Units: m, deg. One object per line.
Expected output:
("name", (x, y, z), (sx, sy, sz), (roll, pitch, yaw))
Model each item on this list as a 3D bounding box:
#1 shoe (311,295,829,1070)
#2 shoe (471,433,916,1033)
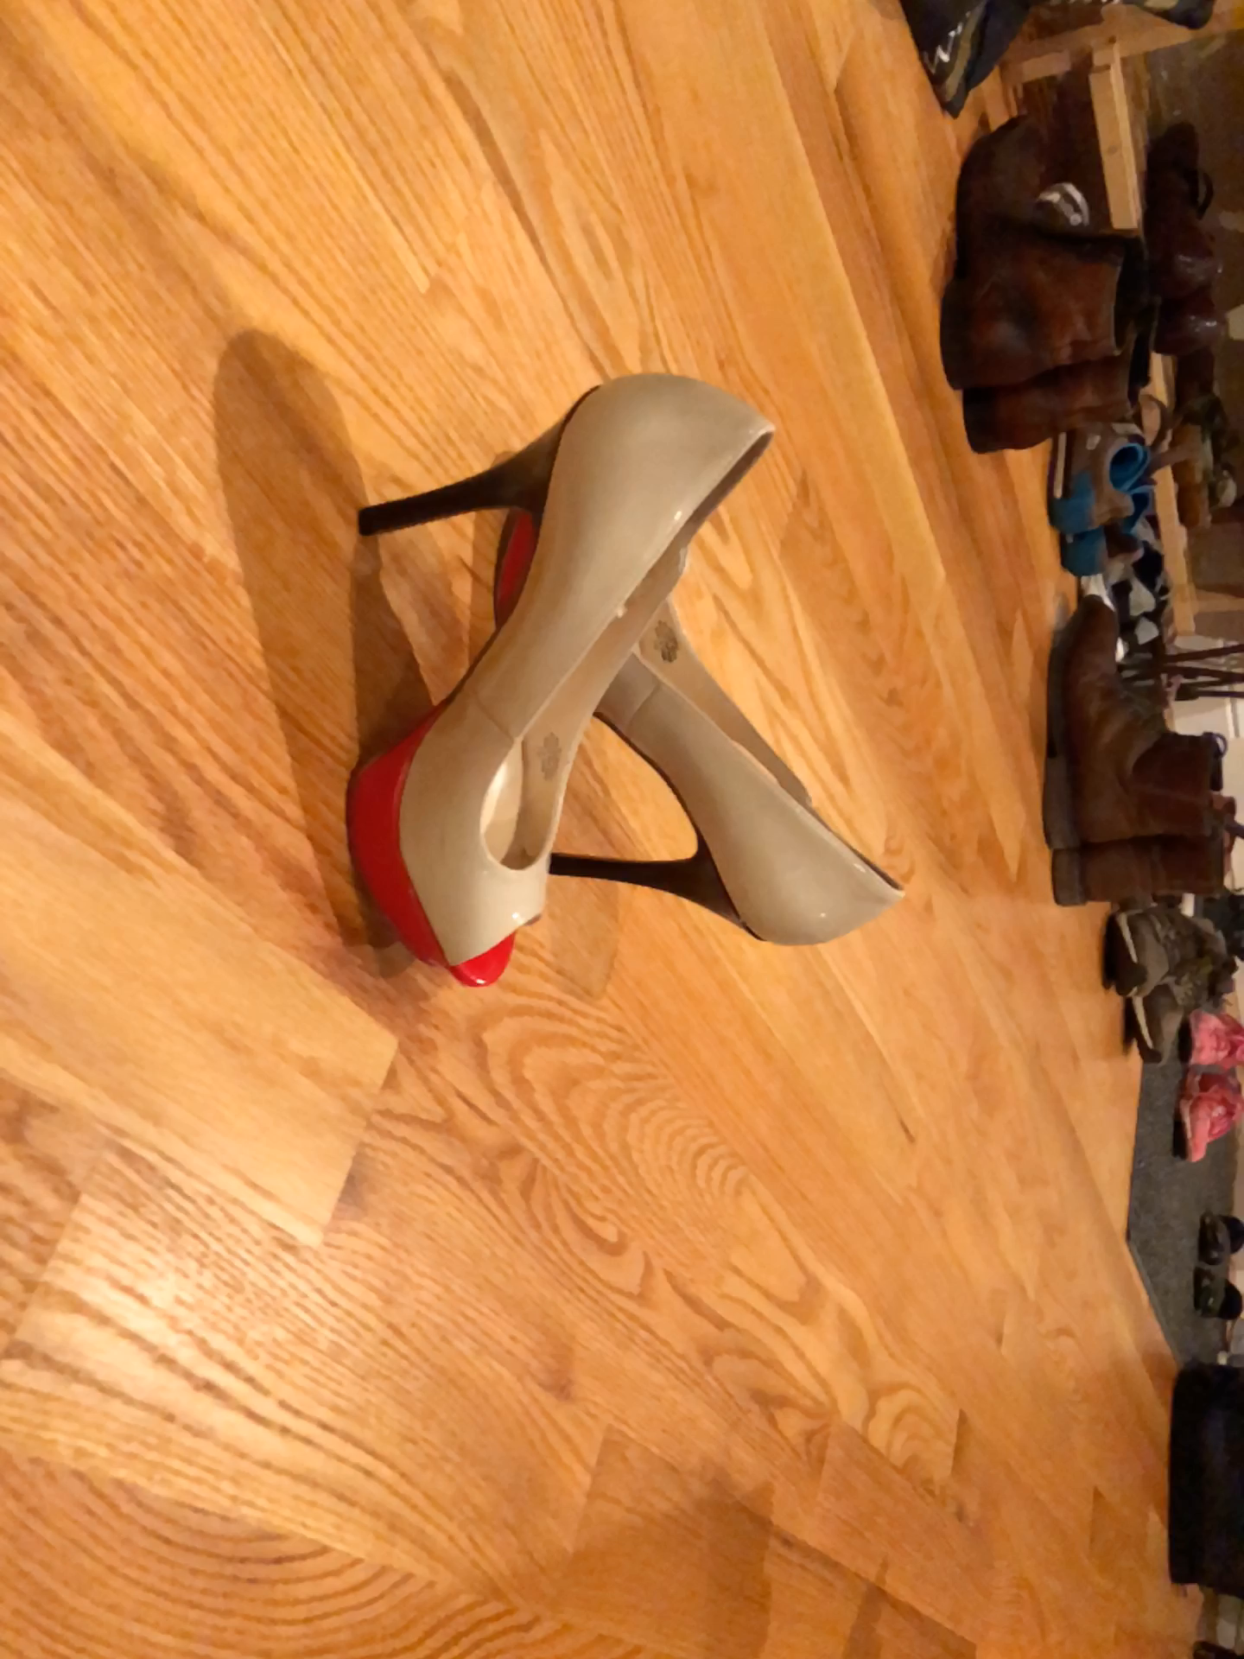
("shoe", (-0.014, -0.043, 0.448), (0.085, 0.129, 0.215), (-15, 103, -60))
("shoe", (0.032, -0.038, 0.569), (0.080, 0.149, 0.220), (-19, 107, -60))
